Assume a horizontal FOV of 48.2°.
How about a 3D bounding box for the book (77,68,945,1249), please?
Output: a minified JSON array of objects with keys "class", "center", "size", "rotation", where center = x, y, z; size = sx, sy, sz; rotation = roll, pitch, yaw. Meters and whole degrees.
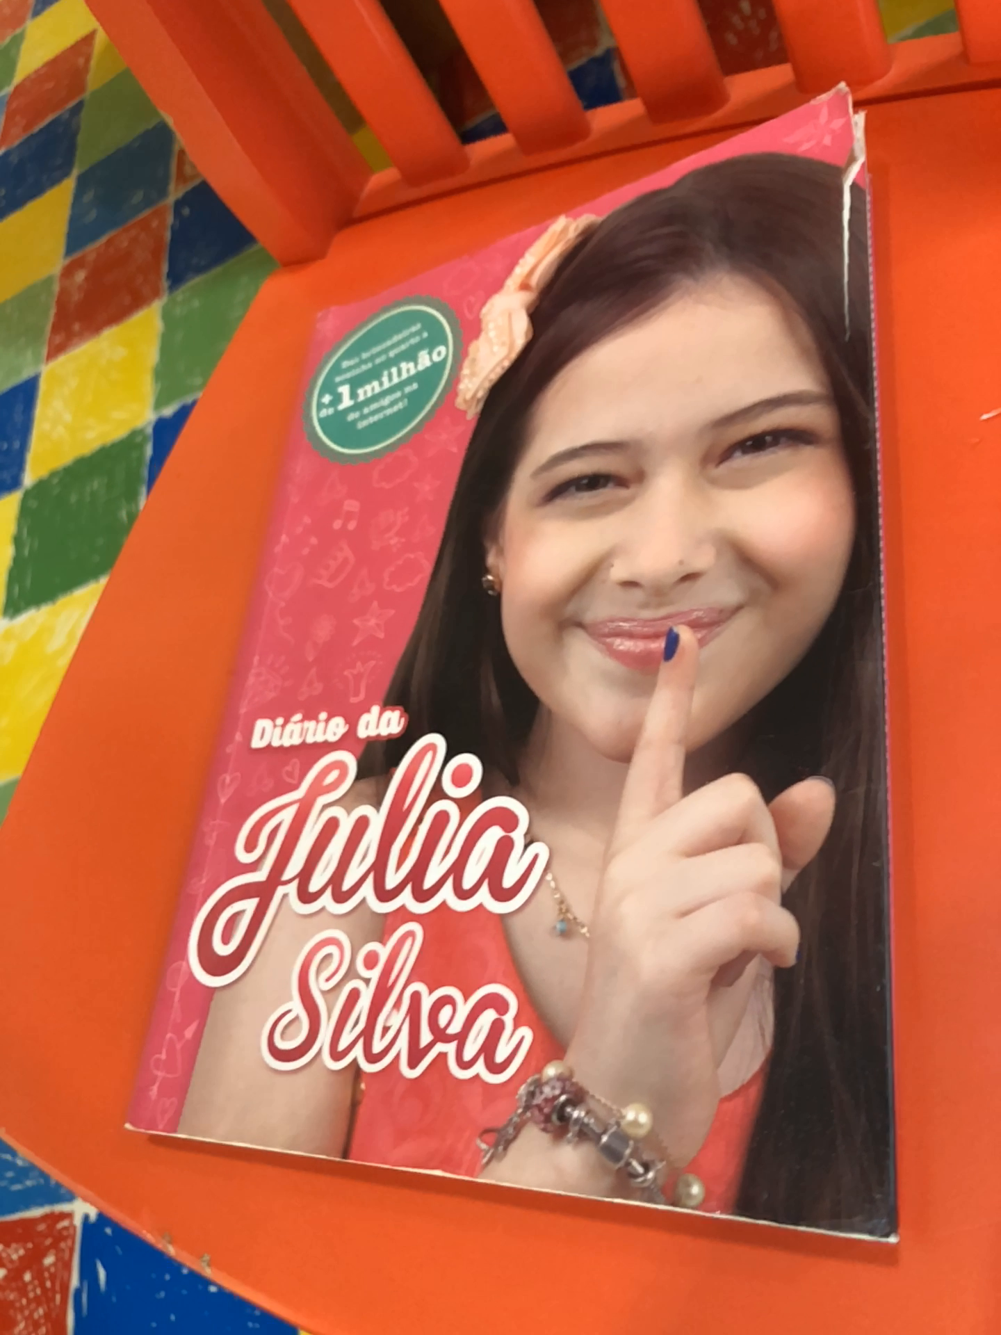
[{"class":"book","center":[0.005,-0.016,0.255],"size":[0.171,0.020,0.241],"rotation":[-6,62,29]}]
